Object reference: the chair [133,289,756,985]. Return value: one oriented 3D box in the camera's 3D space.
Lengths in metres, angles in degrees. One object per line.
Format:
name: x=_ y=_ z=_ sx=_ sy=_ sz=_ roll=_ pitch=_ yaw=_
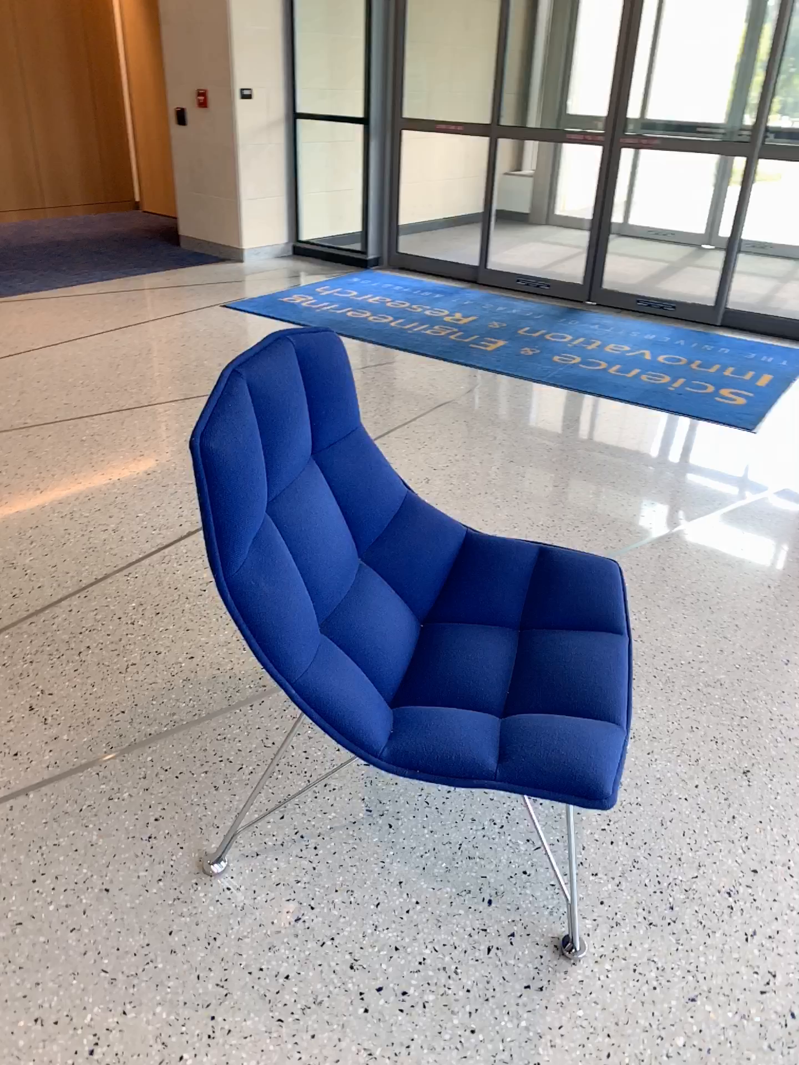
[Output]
chair: x=0.107 y=0.125 z=1.637 sx=0.828 sy=0.963 sz=0.804 roll=9 pitch=29 yaw=11
